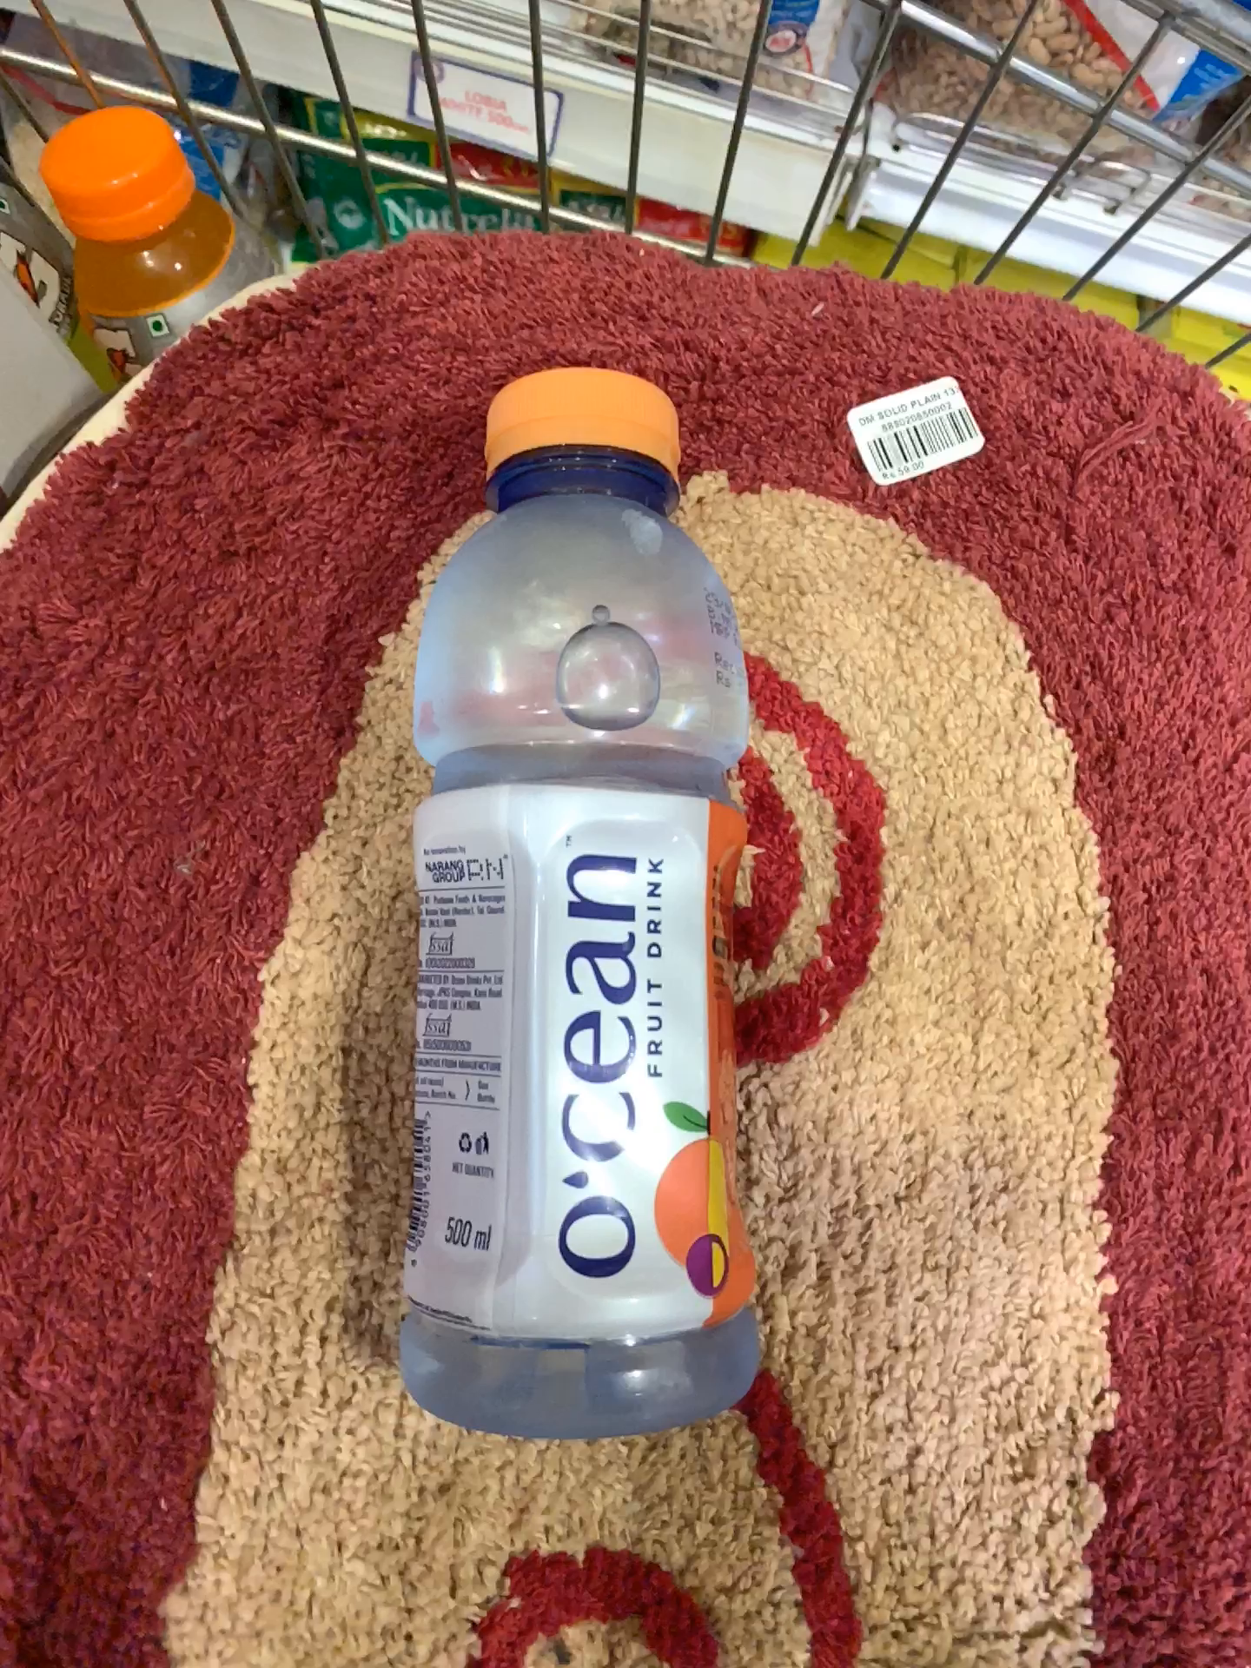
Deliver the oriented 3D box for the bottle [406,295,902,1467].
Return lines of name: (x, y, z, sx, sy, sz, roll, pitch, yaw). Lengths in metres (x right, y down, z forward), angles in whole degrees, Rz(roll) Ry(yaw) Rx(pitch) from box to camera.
bottle: (0.002, 0.008, 0.236, 0.070, 0.060, 0.180, 3, 87, -15)
